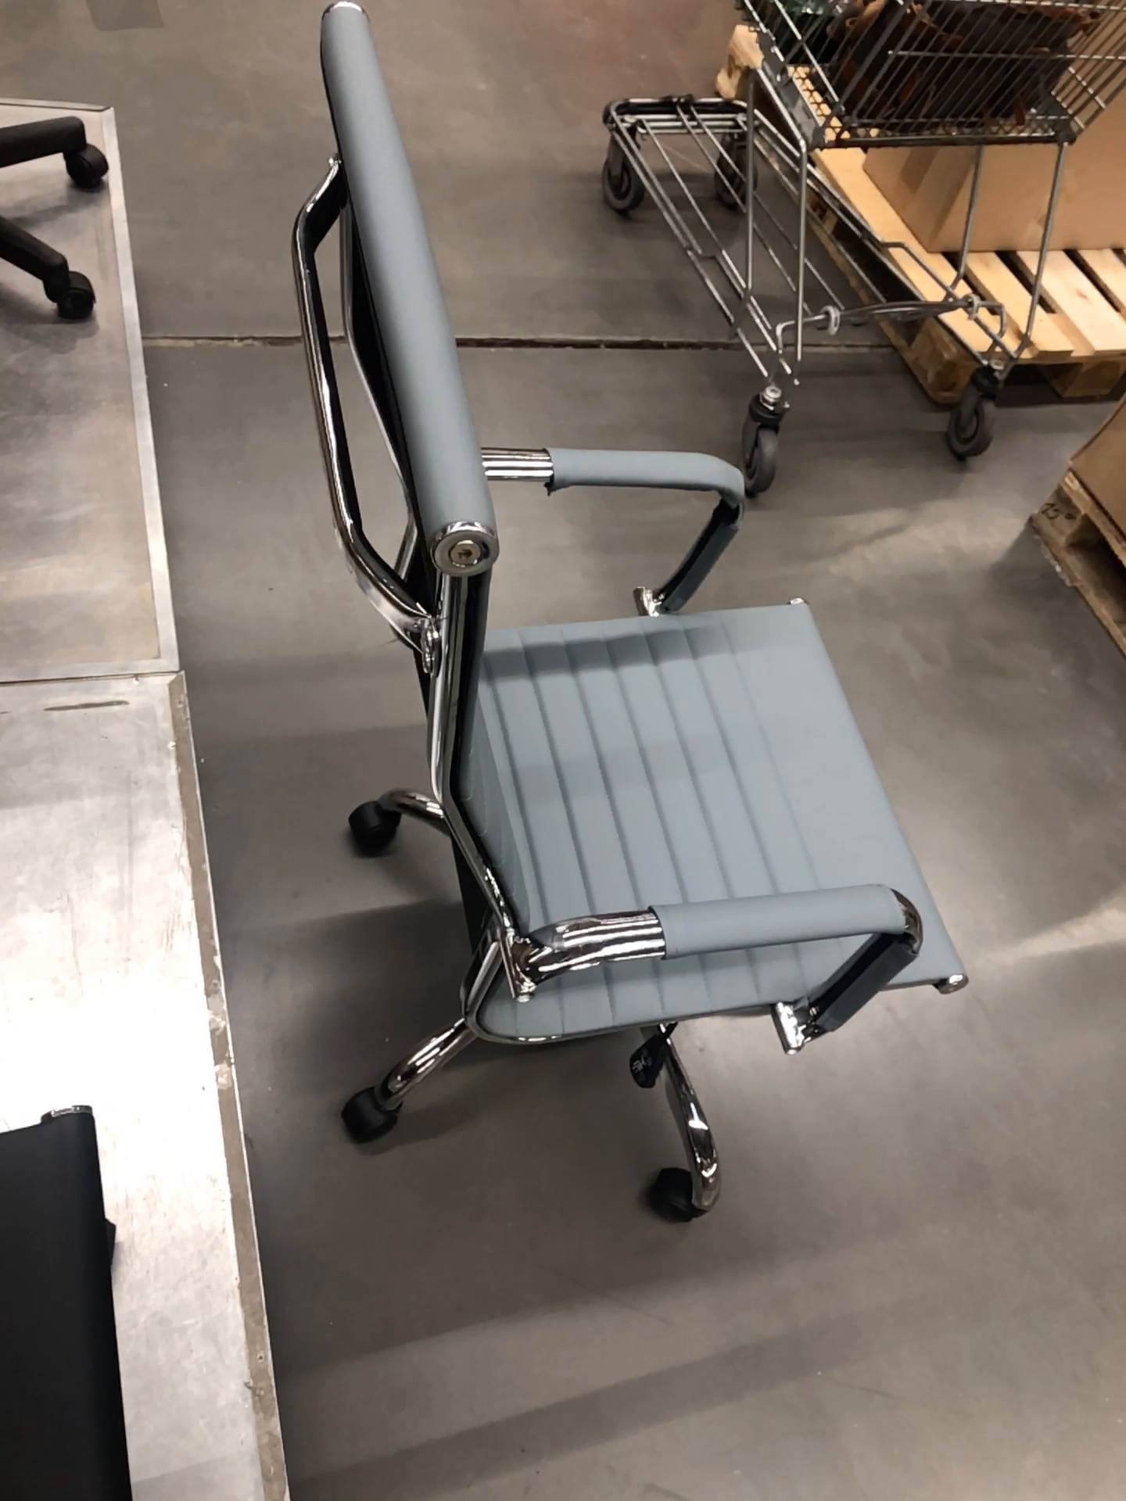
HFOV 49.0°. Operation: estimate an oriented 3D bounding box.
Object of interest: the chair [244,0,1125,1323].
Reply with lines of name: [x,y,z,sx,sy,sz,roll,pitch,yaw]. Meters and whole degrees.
chair: [0.105,0.001,1.233,0.751,1.213,0.713,-3,57,-18]
